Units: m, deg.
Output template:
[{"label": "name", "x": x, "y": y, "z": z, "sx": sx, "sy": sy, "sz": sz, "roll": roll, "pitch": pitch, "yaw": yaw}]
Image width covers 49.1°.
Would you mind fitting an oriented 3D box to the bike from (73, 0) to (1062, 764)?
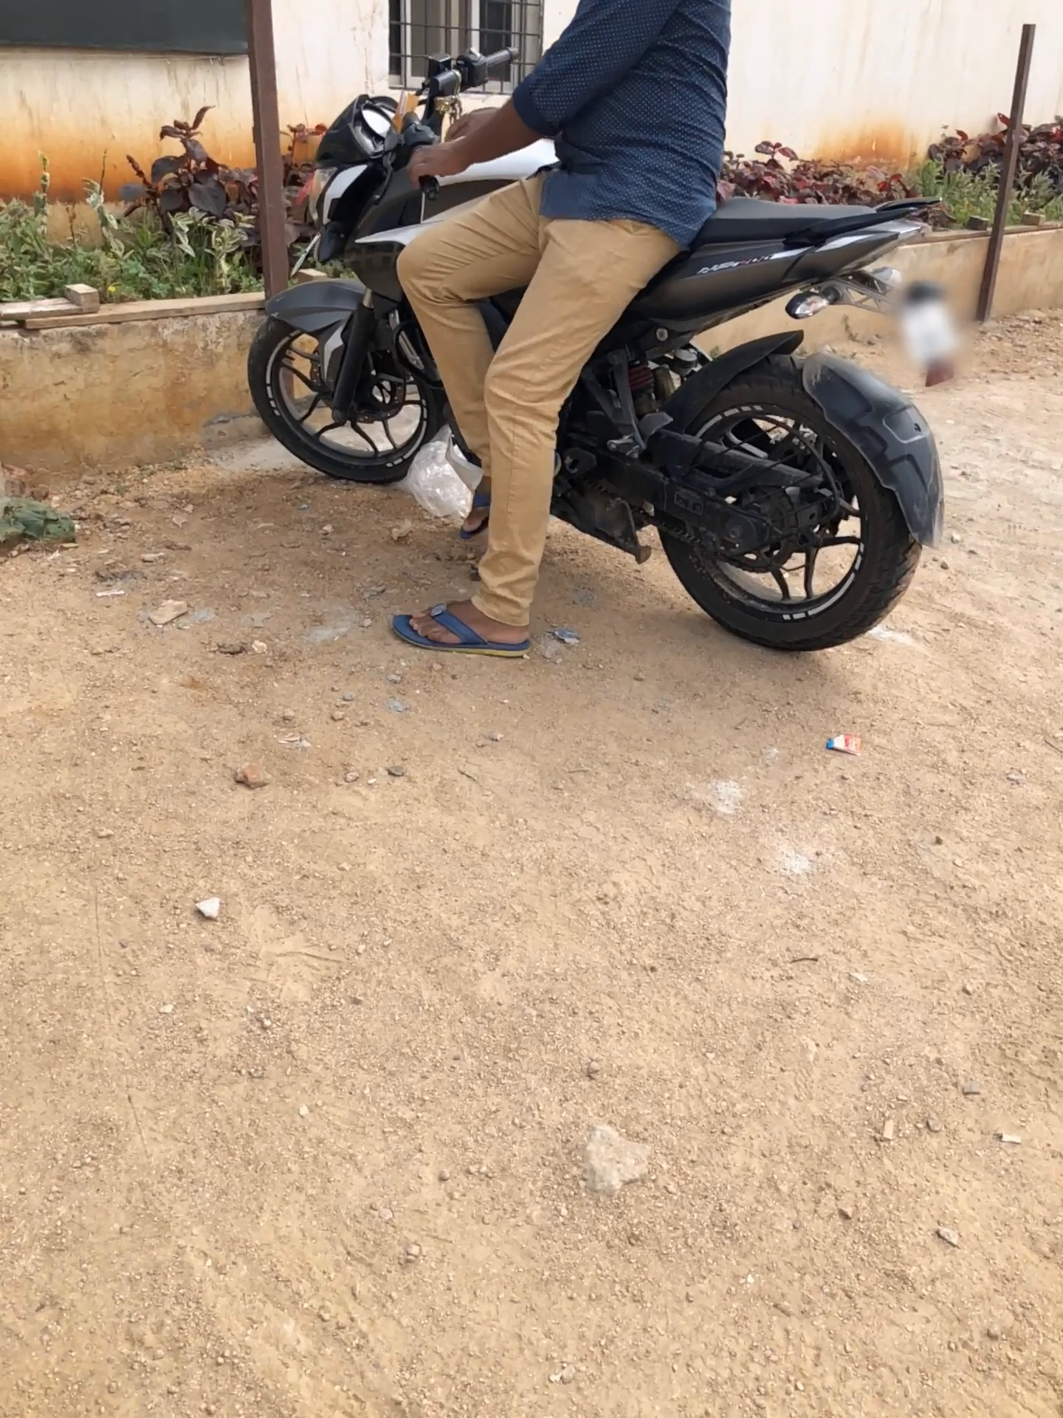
[{"label": "bike", "x": 0.009, "y": -0.866, "z": 2.546, "sx": 1.848, "sy": 1.122, "sz": 0.784, "roll": 23, "pitch": 34, "yaw": 29}]
